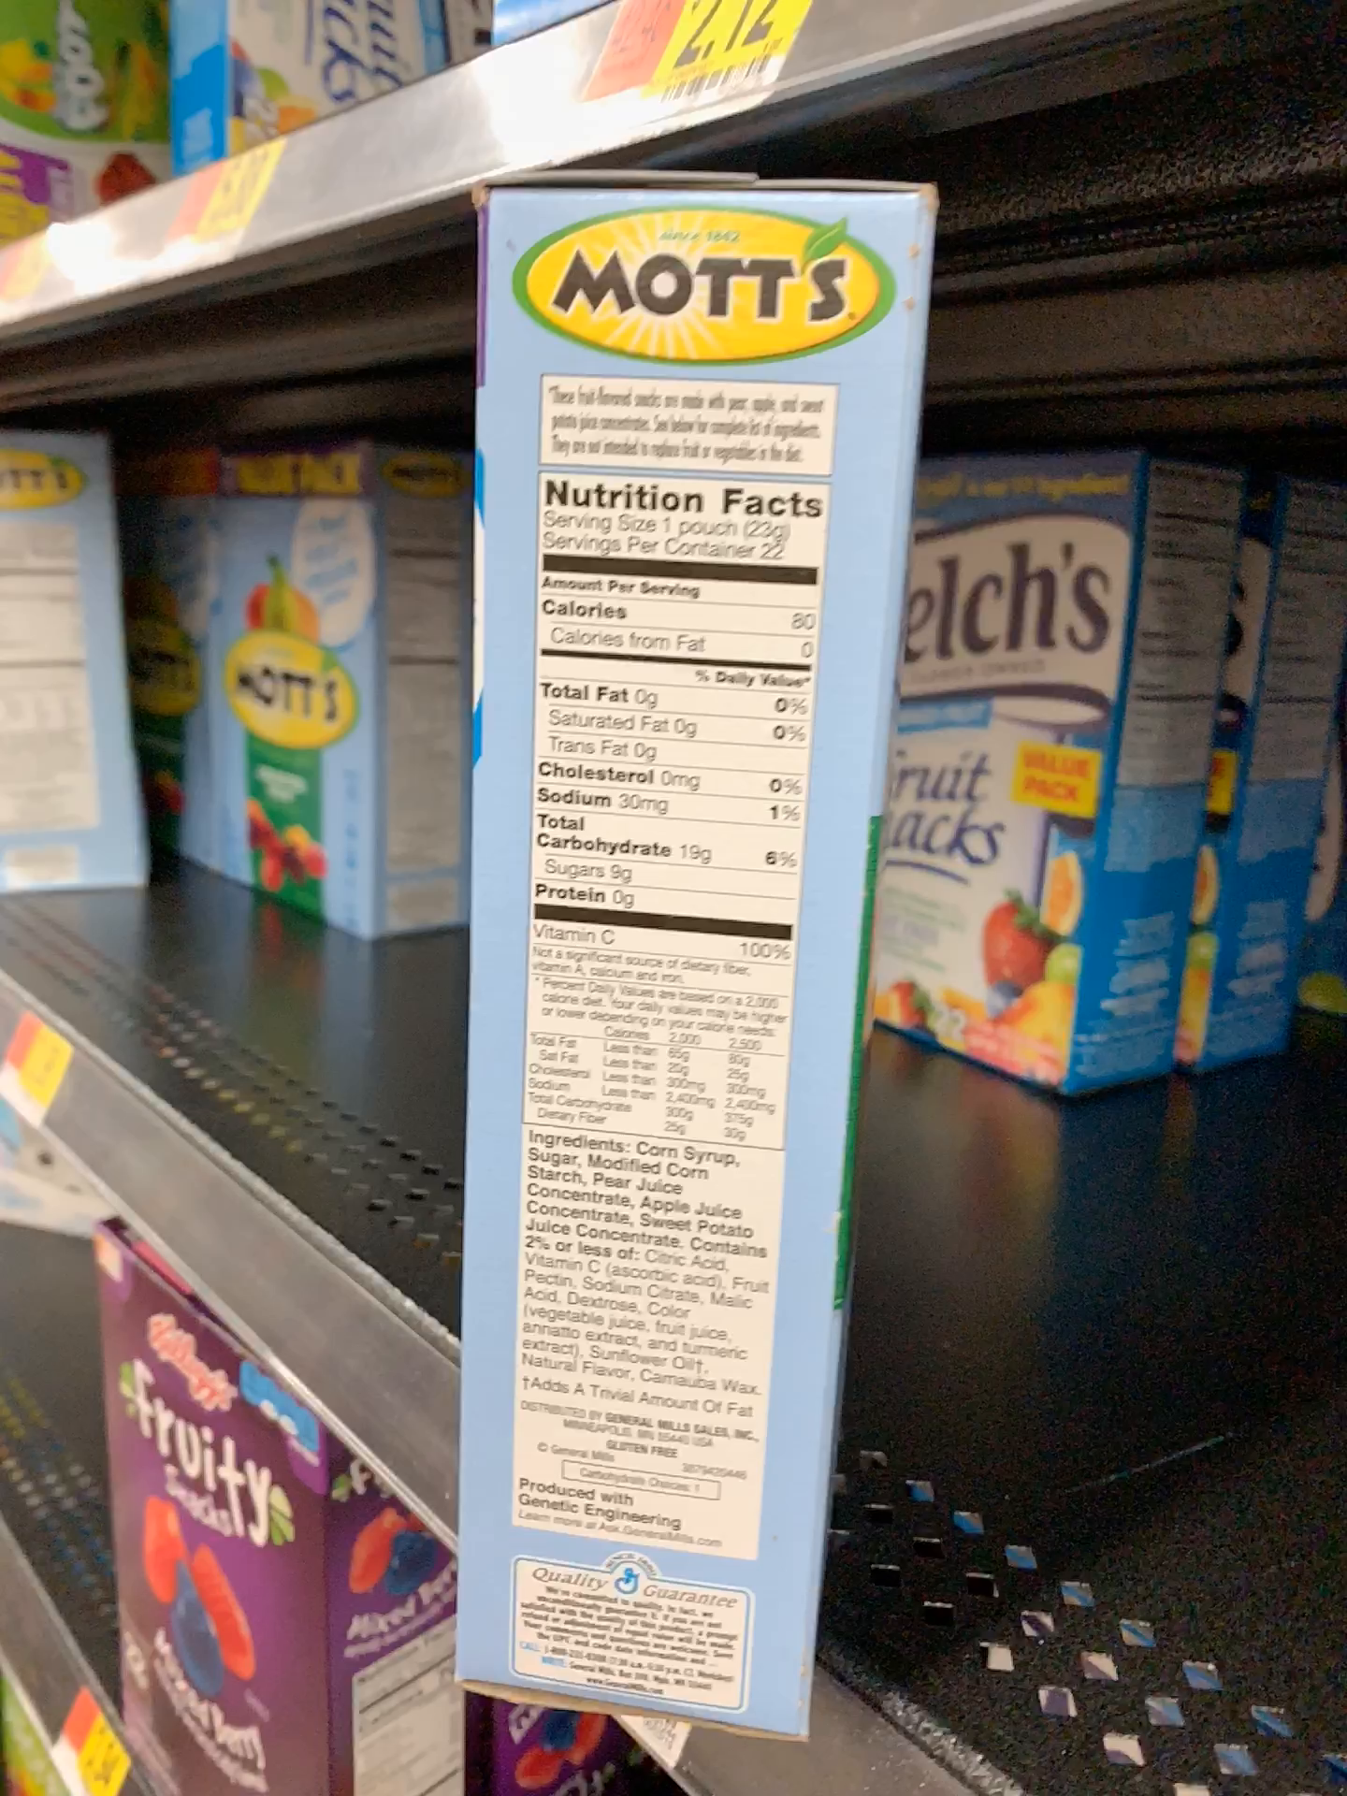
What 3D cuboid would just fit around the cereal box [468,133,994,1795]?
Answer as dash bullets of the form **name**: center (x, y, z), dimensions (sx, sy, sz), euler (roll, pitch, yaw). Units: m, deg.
- **cereal box**: center (0.013, 0.004, 0.284), dimensions (0.060, 0.239, 0.181), euler (4, 14, 6)
